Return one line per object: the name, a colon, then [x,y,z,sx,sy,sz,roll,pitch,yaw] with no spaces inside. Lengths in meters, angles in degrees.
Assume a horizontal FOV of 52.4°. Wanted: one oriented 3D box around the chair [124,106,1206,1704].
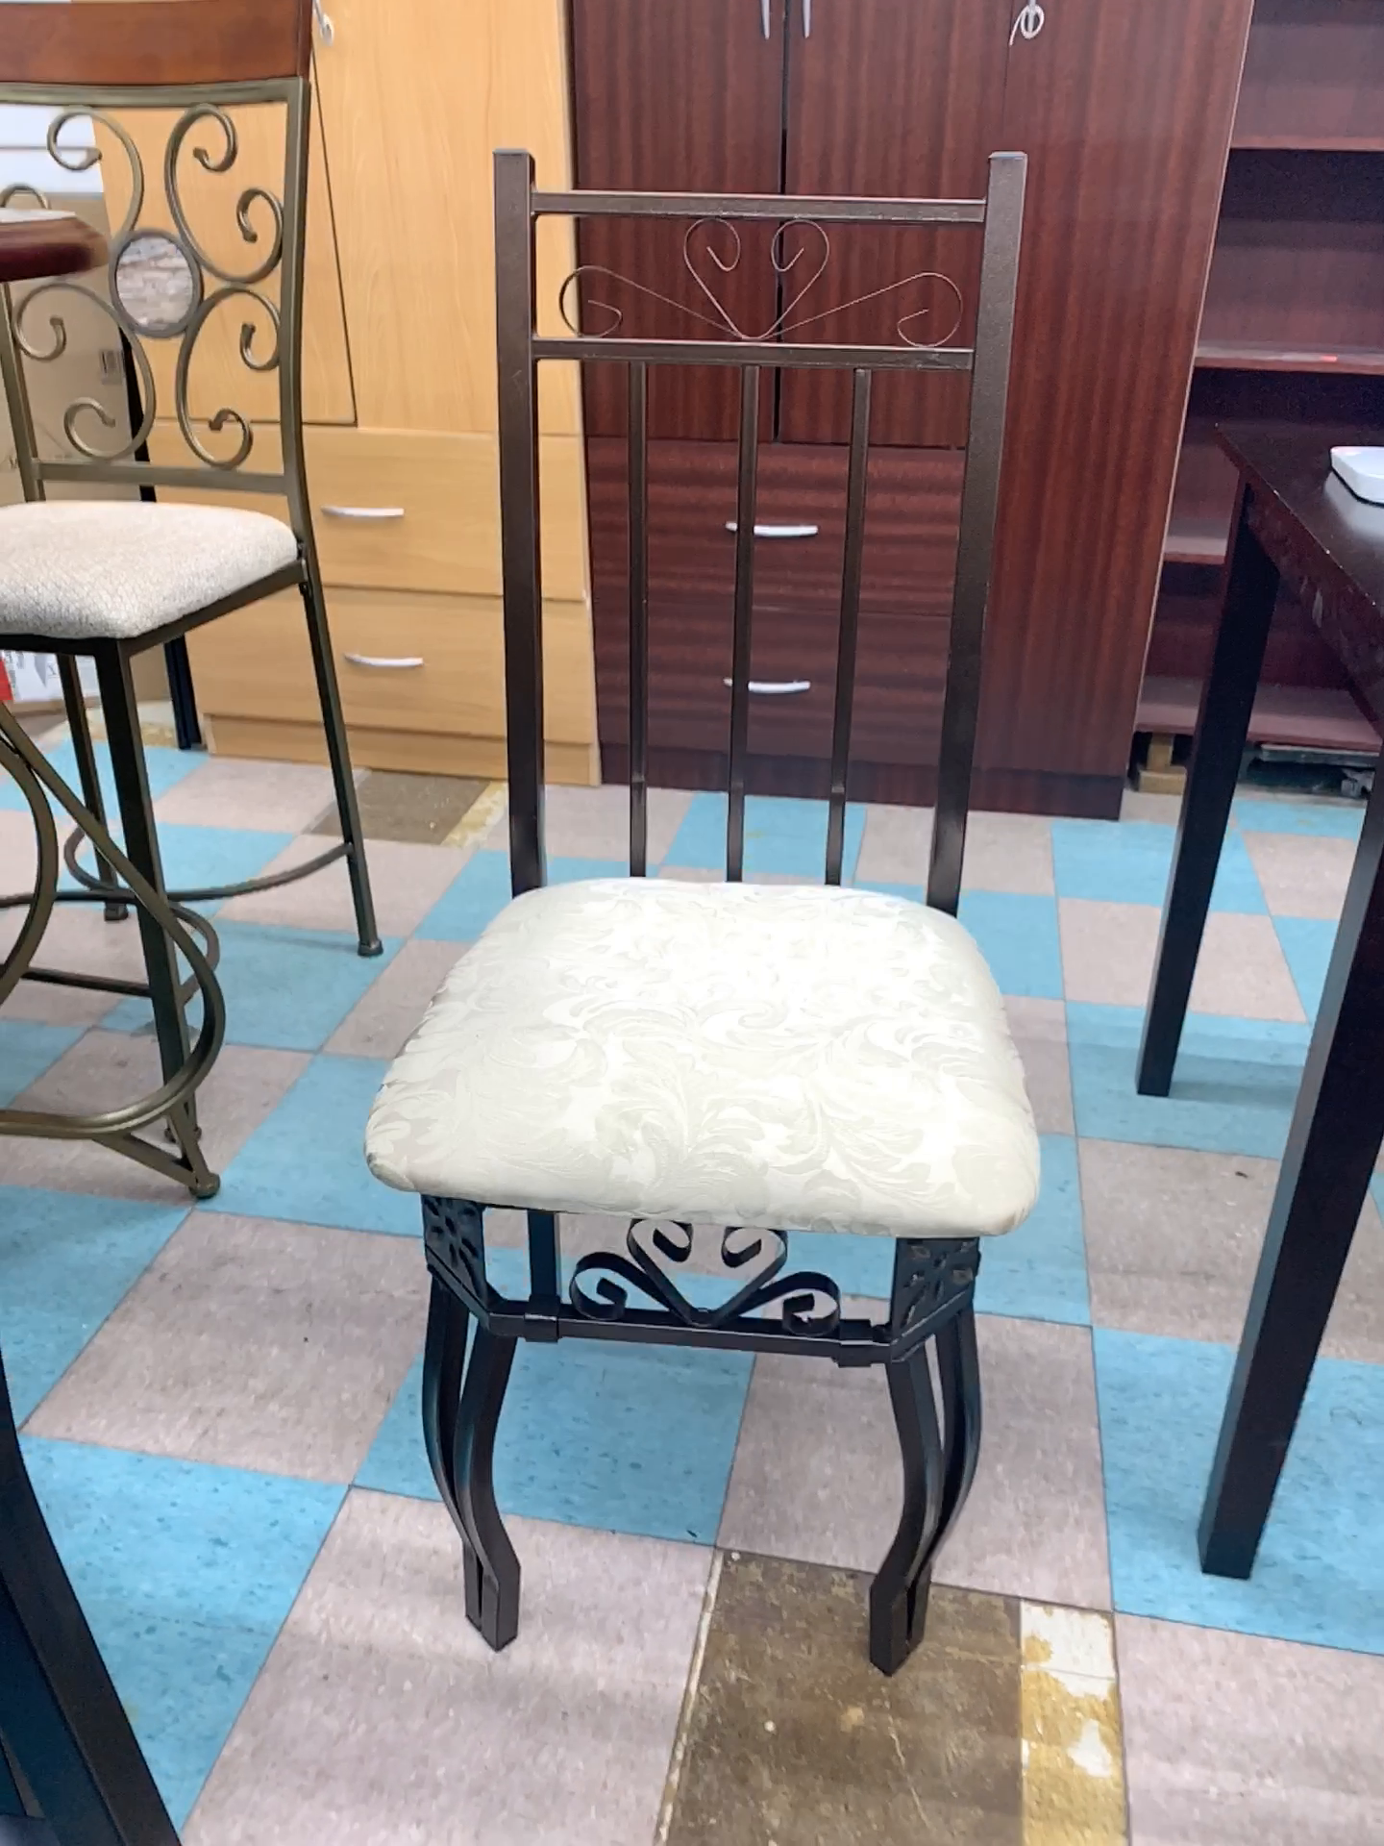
chair: [0.005,-0.005,0.970,0.415,0.950,0.478,2,28,5]
